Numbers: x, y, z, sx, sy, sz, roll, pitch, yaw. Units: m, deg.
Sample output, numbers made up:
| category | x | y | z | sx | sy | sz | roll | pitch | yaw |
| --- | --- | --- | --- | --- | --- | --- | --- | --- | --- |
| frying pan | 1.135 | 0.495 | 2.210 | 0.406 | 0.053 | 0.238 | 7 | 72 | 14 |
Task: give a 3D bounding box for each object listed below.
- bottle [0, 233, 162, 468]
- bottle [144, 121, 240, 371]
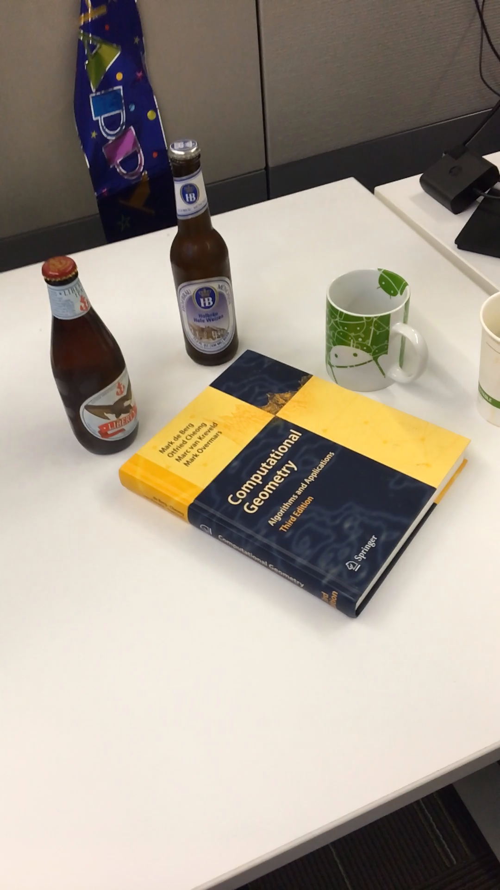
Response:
| category | x | y | z | sx | sy | sz | roll | pitch | yaw |
| --- | --- | --- | --- | --- | --- | --- | --- | --- | --- |
| bottle | -0.138 | -0.076 | 0.636 | 0.070 | 0.180 | 0.070 | -2 | 46 | 2 |
| bottle | -0.052 | -0.181 | 0.711 | 0.060 | 0.220 | 0.070 | -9 | 46 | -4 |
